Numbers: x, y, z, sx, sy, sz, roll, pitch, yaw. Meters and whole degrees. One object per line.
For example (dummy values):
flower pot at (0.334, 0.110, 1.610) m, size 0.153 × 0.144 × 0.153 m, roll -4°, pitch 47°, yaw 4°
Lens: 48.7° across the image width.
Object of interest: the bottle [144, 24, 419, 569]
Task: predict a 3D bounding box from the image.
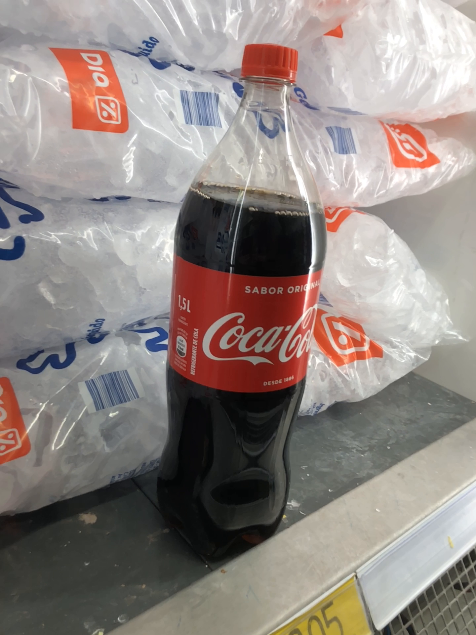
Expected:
bottle at (0.013, -0.004, 0.322) m, size 0.100 × 0.288 × 0.080 m, roll -6°, pitch 23°, yaw -31°
